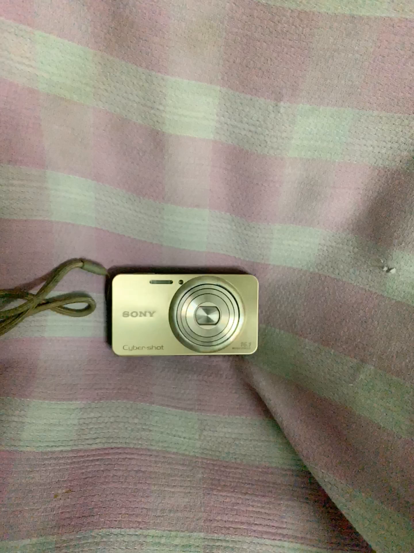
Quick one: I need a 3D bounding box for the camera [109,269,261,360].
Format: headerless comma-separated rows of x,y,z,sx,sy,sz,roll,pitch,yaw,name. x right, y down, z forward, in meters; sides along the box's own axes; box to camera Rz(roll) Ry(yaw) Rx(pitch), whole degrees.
-0.014,0.022,0.272,0.091,0.027,0.053,0,92,-5,camera
